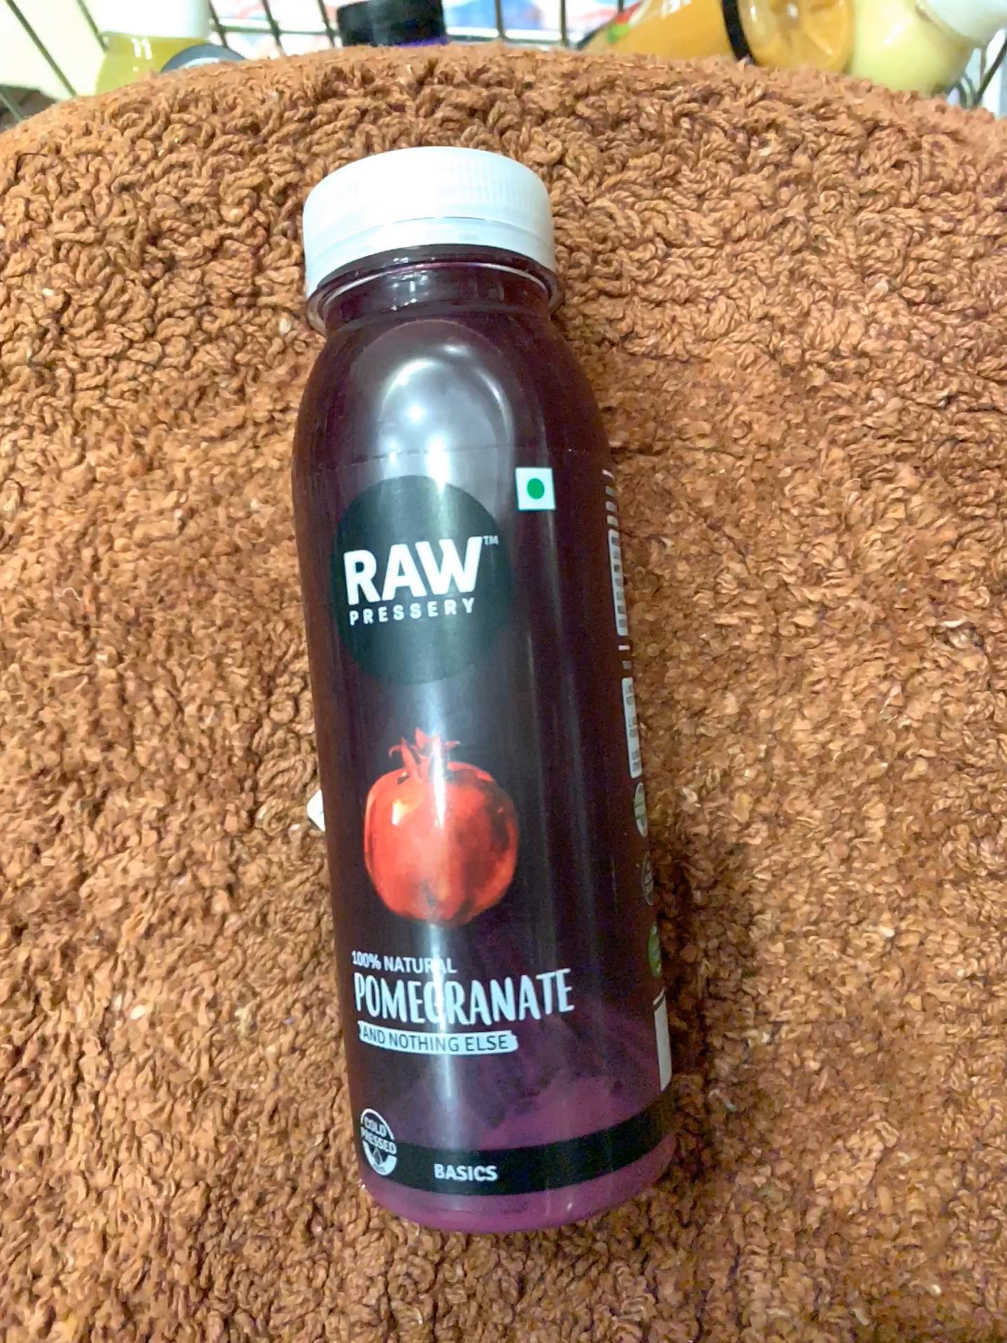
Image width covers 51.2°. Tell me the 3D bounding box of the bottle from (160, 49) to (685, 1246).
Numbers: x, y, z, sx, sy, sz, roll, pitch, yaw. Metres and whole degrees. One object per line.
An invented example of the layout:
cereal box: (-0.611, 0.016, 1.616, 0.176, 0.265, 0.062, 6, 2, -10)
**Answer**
bottle: (-0.007, 0.001, 0.145, 0.050, 0.040, 0.140, -4, 96, 5)
